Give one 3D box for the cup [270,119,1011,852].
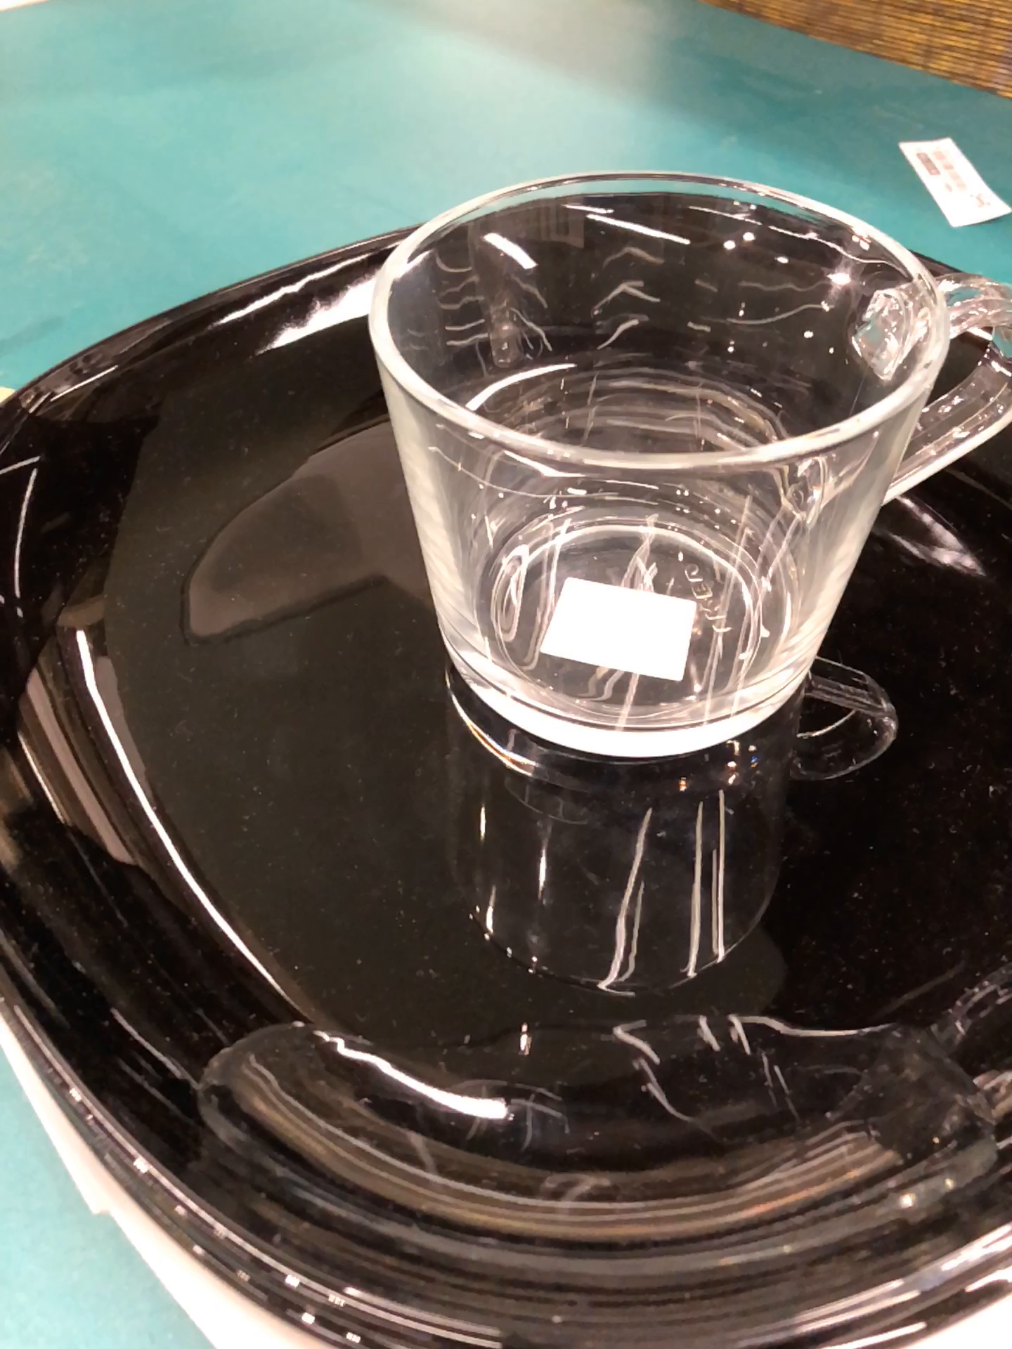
[{"bbox_3d":[0.036,-0.052,0.254,0.140,0.080,0.120,-17,47,-13],"label":"cup"}]
